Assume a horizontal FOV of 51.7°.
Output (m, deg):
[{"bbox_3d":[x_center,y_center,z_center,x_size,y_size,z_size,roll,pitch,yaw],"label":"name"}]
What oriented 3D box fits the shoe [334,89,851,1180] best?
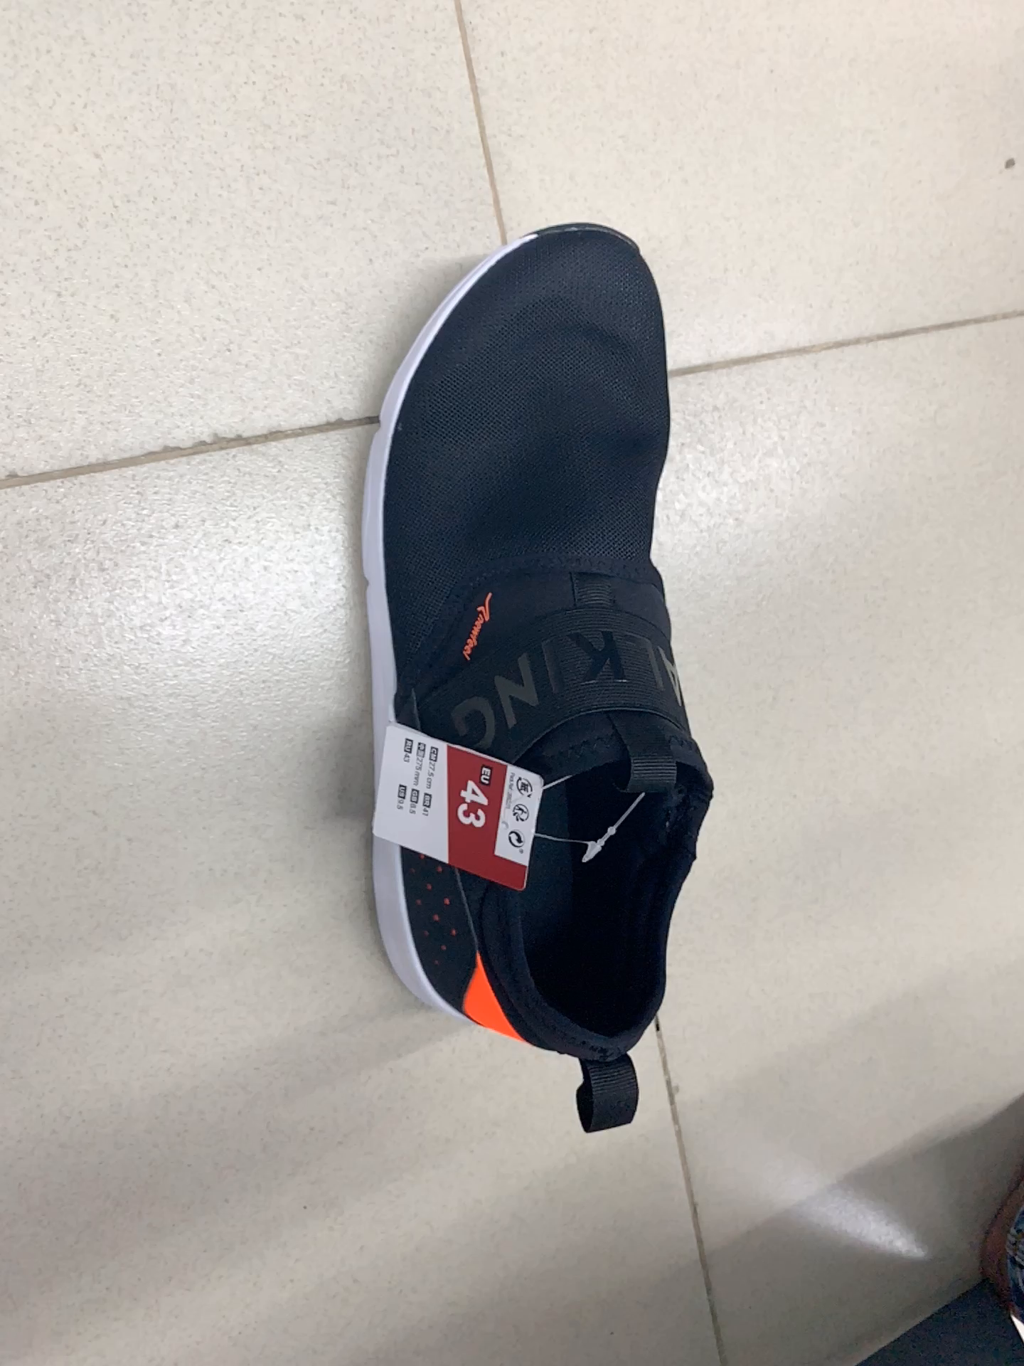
[{"bbox_3d":[0.017,-0.011,0.349,0.110,0.120,0.280,1,94,-25],"label":"shoe"}]
